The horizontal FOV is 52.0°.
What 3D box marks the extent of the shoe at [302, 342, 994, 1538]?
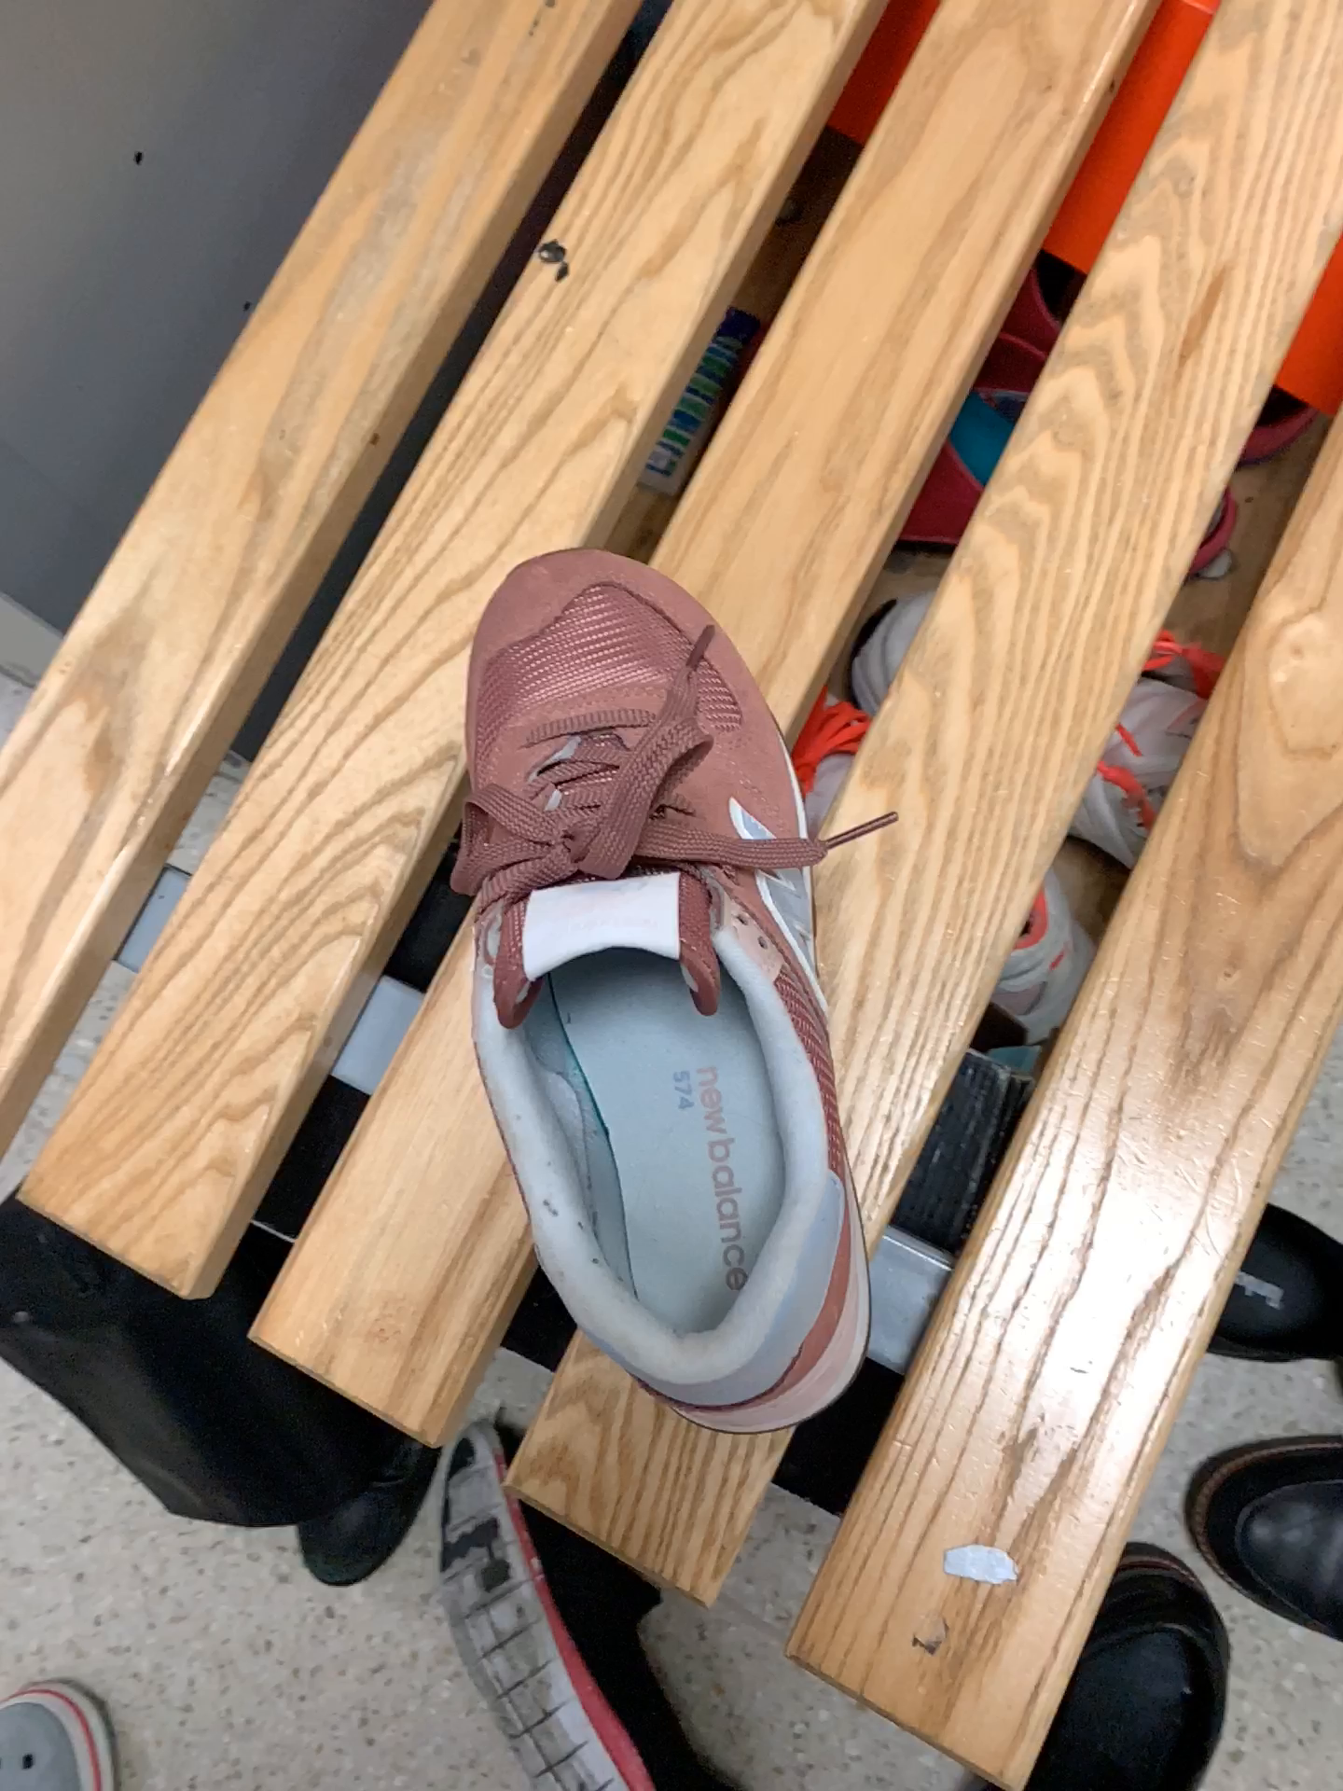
[{"bbox_3d":[-0.006,0.010,0.365,0.109,0.105,0.260,-14,74,7],"label":"shoe"}]
